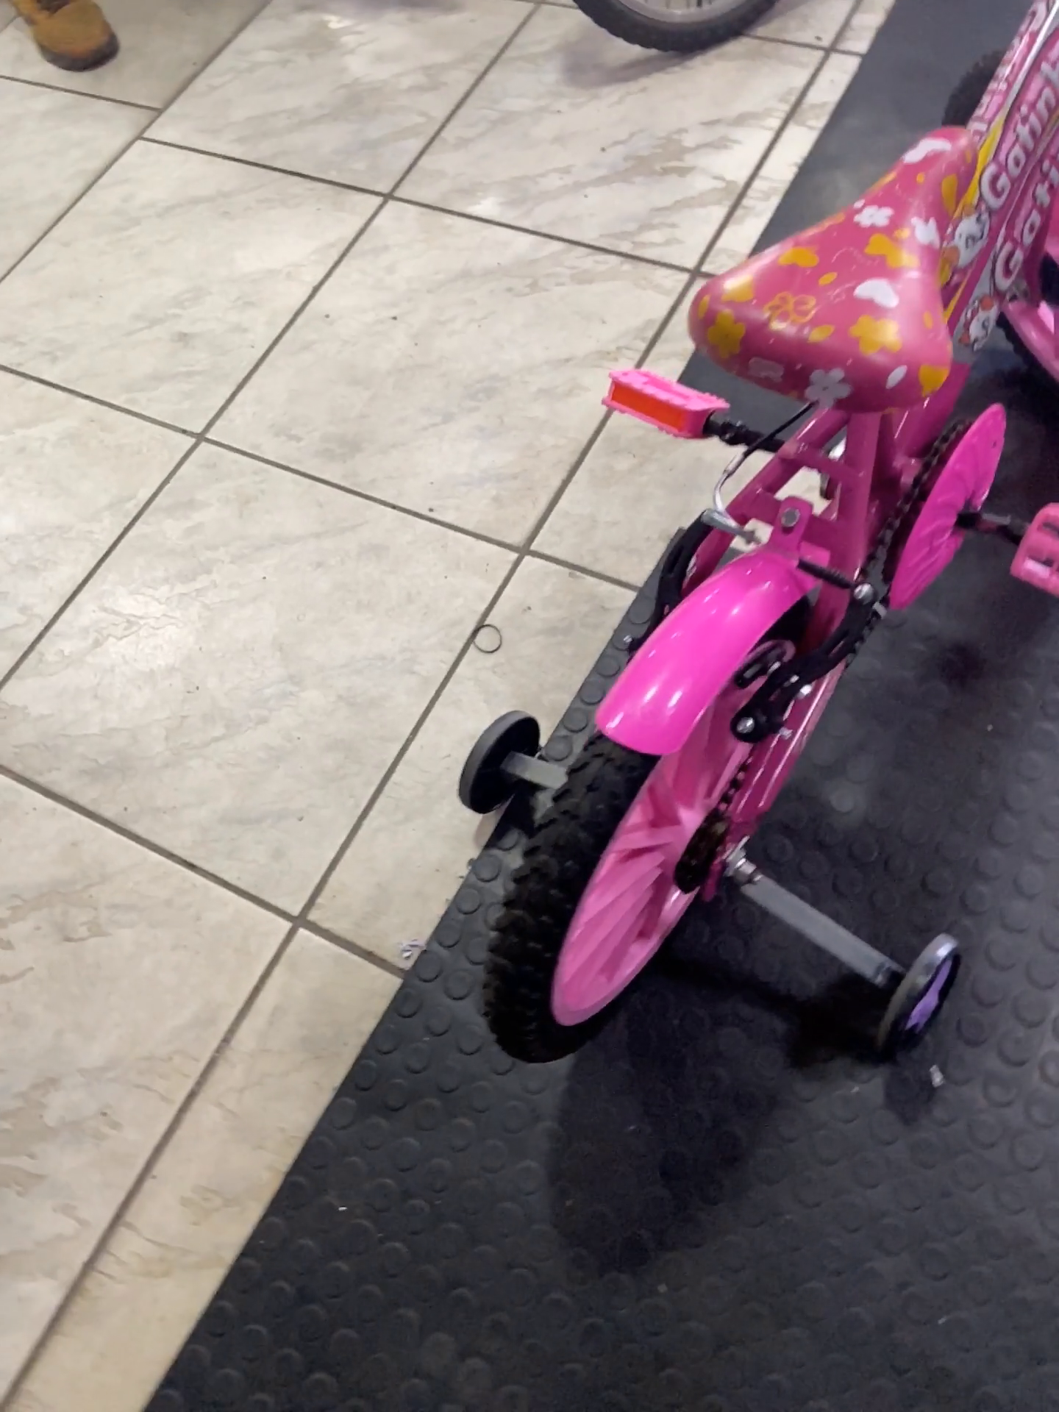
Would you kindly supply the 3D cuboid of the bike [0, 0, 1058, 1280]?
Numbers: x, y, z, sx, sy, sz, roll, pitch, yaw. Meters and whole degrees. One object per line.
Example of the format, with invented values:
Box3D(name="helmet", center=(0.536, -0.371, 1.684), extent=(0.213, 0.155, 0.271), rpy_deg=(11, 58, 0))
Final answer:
Box3D(name="bike", center=(0.184, -0.251, 0.711), extent=(0.466, 0.790, 0.941), rpy_deg=(23, 66, 21))
